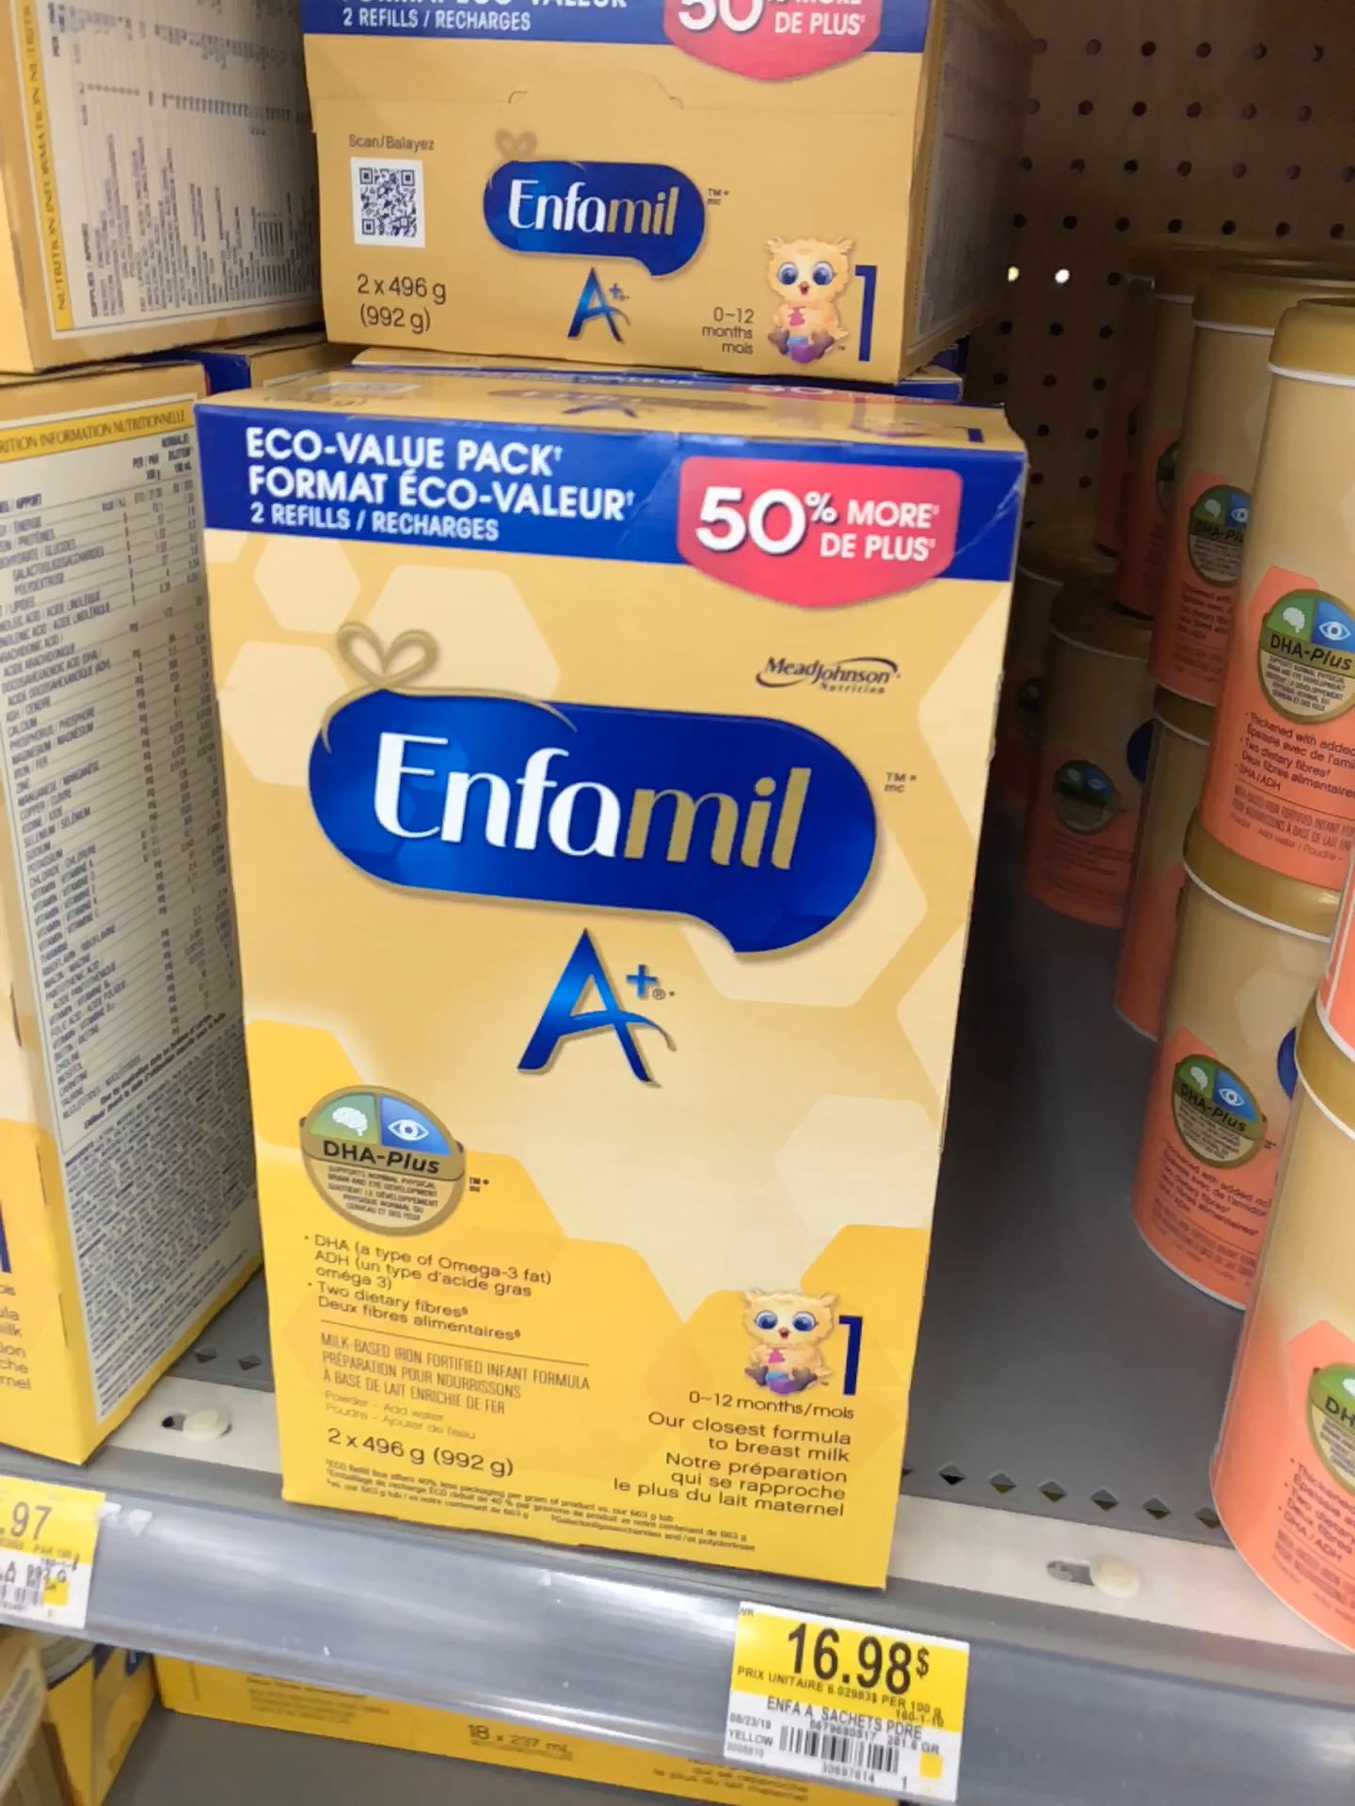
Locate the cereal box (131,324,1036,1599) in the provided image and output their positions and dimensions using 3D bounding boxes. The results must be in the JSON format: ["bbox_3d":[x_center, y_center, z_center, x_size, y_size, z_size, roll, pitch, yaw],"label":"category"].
[{"bbox_3d":[-0.017,0.015,0.331,0.150,0.258,0.081,5,24,7],"label":"cereal box"}]
